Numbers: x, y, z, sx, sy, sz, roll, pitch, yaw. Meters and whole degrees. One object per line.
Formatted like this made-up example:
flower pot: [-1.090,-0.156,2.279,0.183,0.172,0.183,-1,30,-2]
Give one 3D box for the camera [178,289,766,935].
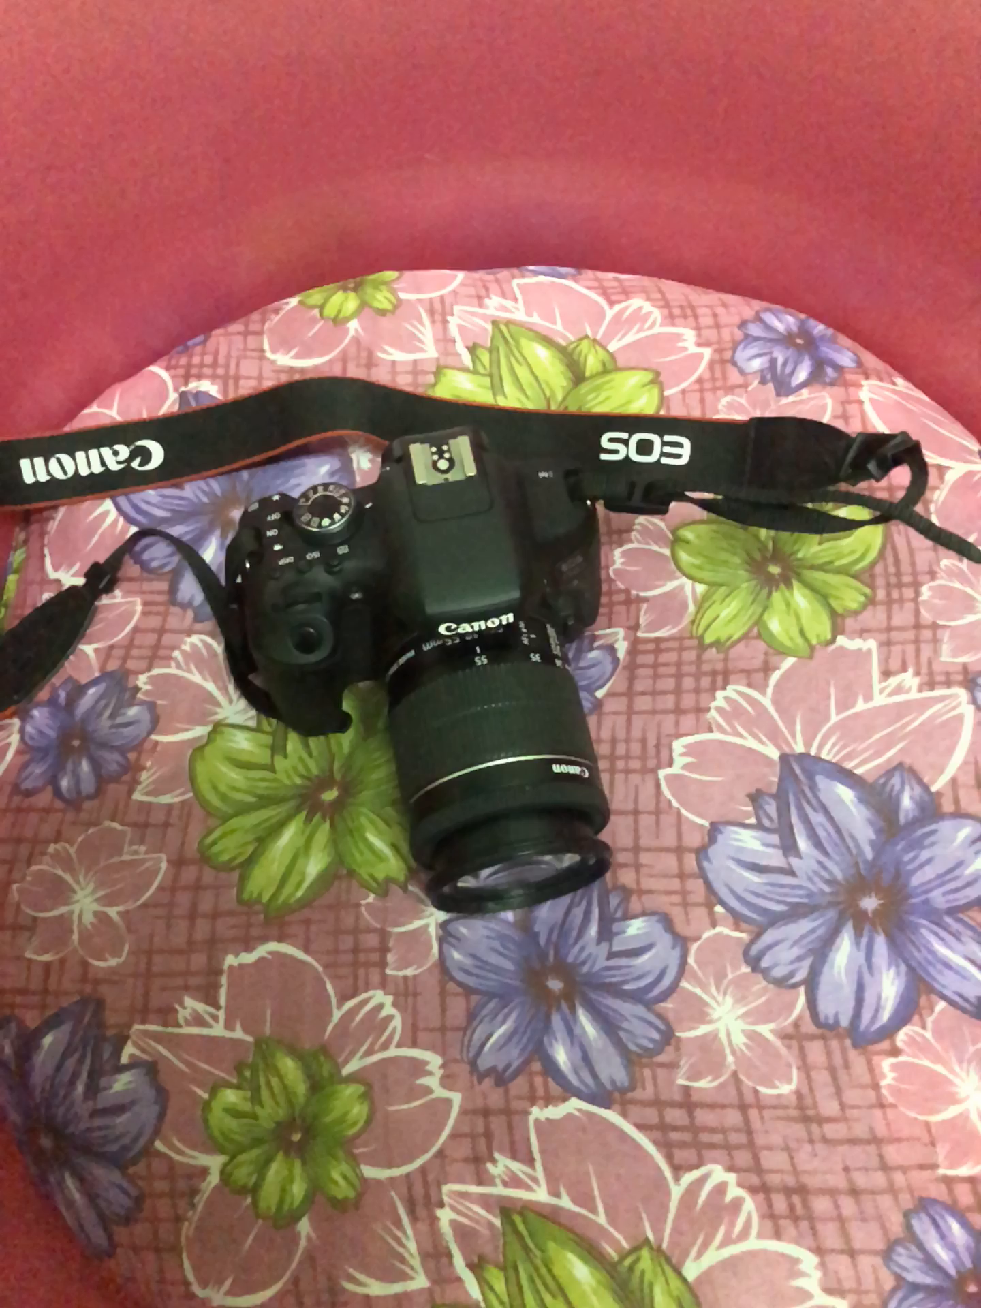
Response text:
camera: [-0.012,-0.011,0.349,0.140,0.100,0.161,-10,66,-3]
